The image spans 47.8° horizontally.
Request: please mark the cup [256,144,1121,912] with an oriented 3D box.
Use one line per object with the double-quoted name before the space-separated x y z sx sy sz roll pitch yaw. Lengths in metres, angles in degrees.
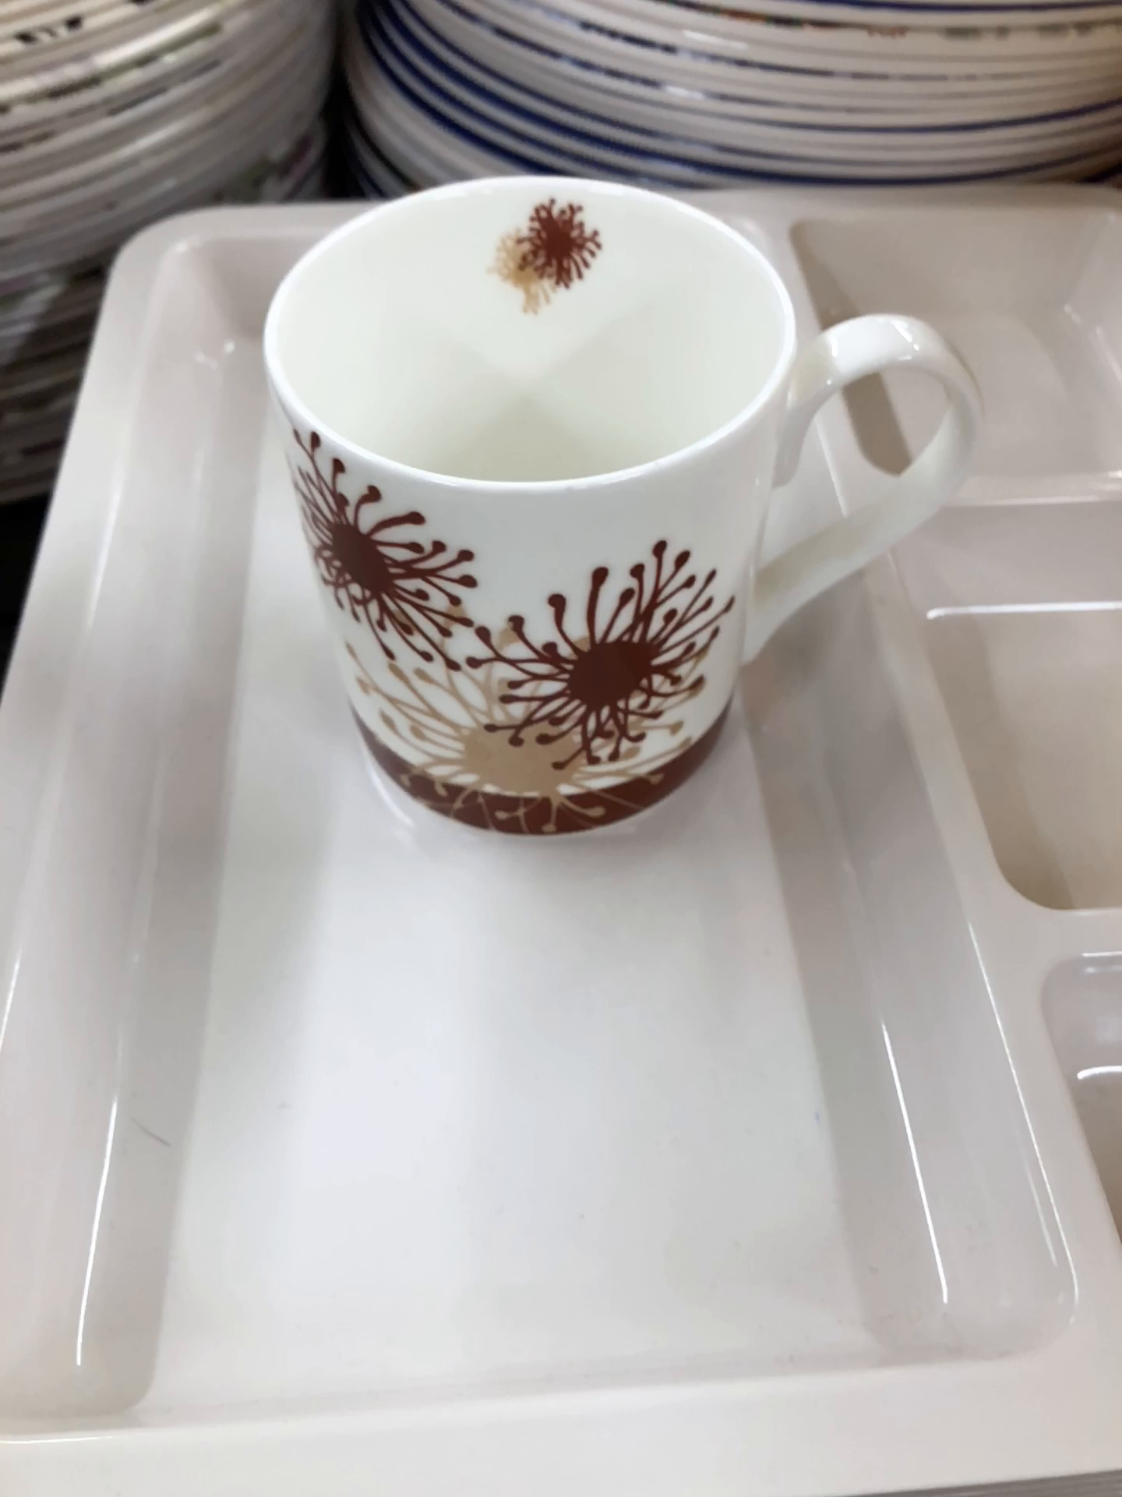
"cup" 0.016 -0.037 0.218 0.120 0.089 0.080 -6 53 -7
